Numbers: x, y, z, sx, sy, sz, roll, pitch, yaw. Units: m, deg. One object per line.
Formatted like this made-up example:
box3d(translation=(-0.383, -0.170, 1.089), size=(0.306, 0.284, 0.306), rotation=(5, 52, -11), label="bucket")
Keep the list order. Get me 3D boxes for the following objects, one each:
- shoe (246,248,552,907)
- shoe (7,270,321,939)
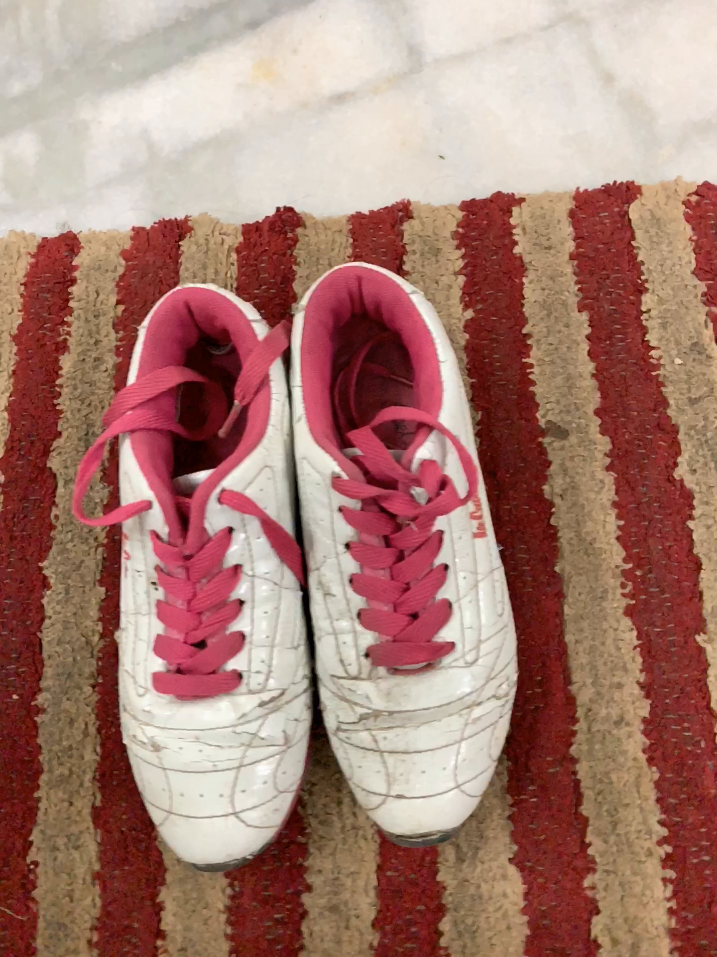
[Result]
box3d(translation=(0.013, 0.037, 0.324), size=(0.100, 0.100, 0.241), rotation=(-4, 75, 5), label="shoe")
box3d(translation=(-0.072, 0.047, 0.321), size=(0.090, 0.100, 0.241), rotation=(-4, 75, 5), label="shoe")
